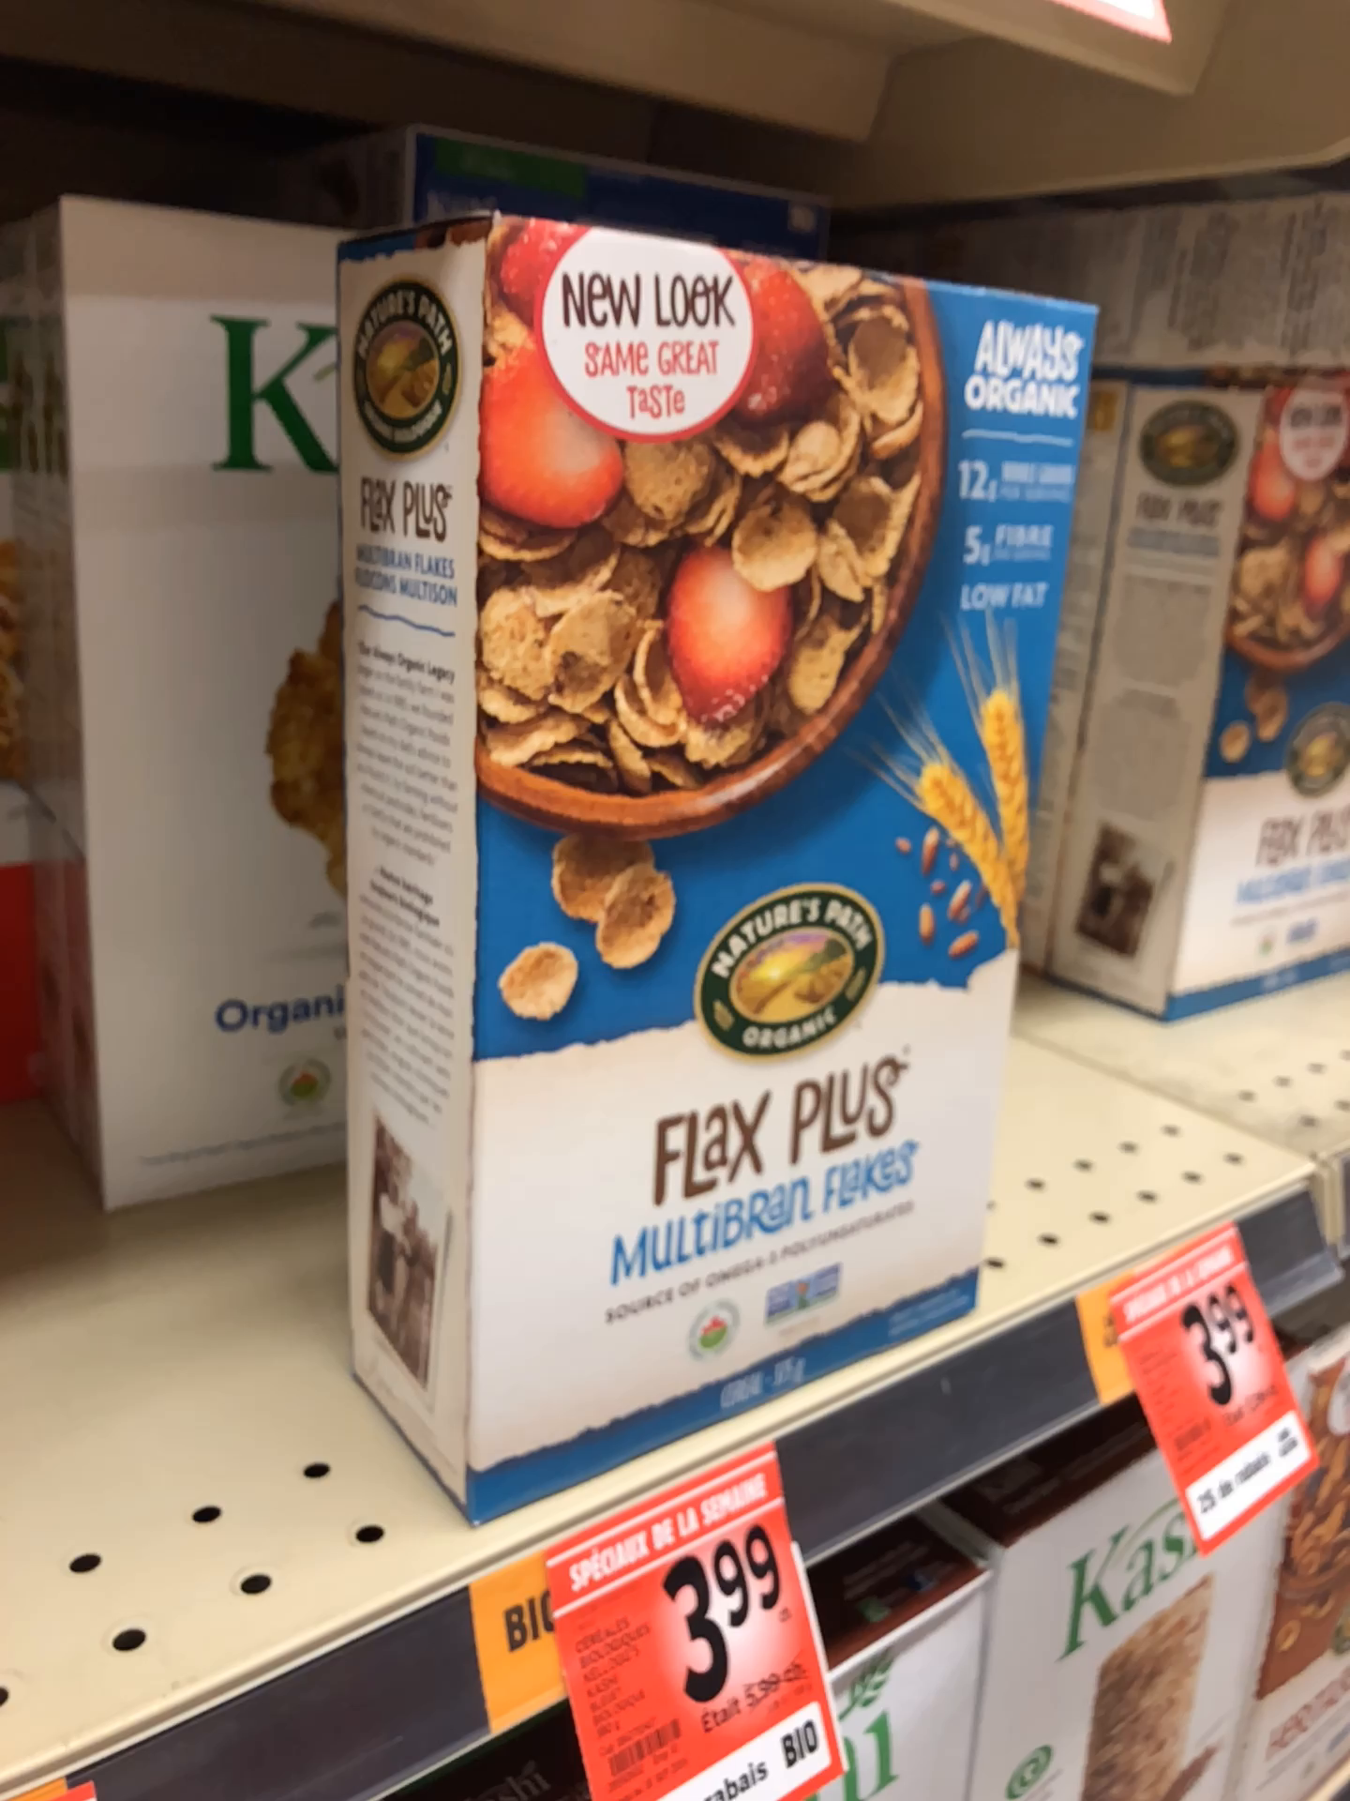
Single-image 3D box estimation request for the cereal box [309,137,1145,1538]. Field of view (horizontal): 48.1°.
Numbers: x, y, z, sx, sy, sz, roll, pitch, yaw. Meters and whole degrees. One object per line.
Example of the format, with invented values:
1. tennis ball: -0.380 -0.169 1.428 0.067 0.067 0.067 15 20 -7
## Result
1. cereal box: 0.008 -0.015 0.357 0.170 0.269 0.070 -9 21 -36
